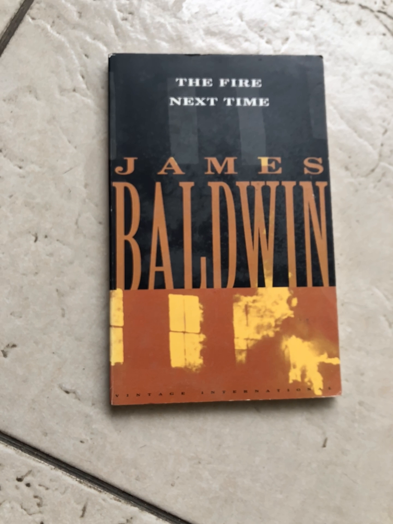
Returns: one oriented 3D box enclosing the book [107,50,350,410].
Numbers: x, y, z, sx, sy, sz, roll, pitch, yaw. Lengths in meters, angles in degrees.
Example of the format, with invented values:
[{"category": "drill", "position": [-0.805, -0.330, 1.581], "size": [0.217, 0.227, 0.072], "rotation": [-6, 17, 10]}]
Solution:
[{"category": "book", "position": [0.016, -0.022, 0.254], "size": [0.130, 0.016, 0.200], "rotation": [-1, 83, -4]}]
